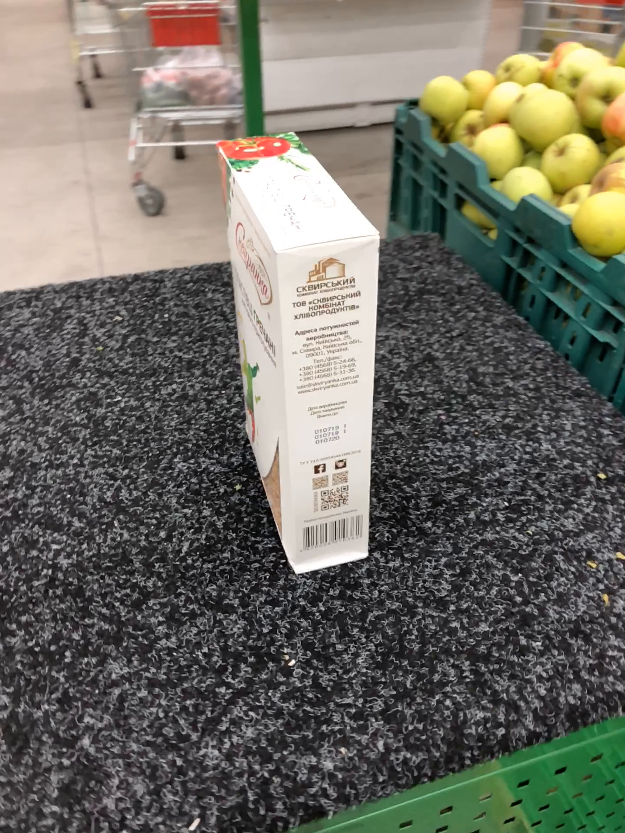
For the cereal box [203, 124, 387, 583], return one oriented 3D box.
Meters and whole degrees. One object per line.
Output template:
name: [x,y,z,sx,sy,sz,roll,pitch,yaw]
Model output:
cereal box: [-0.014,-0.037,0.442,0.060,0.238,0.161,-11,40,-11]
